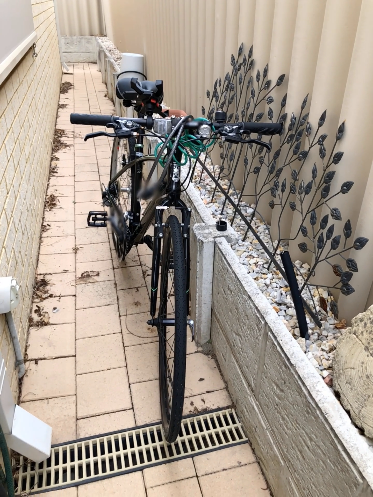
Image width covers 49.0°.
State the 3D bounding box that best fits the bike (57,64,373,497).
[{"bbox_3d":[-0.113,-0.168,1.648,0.638,0.859,1.707,-6,31,-13],"label":"bike"}]
